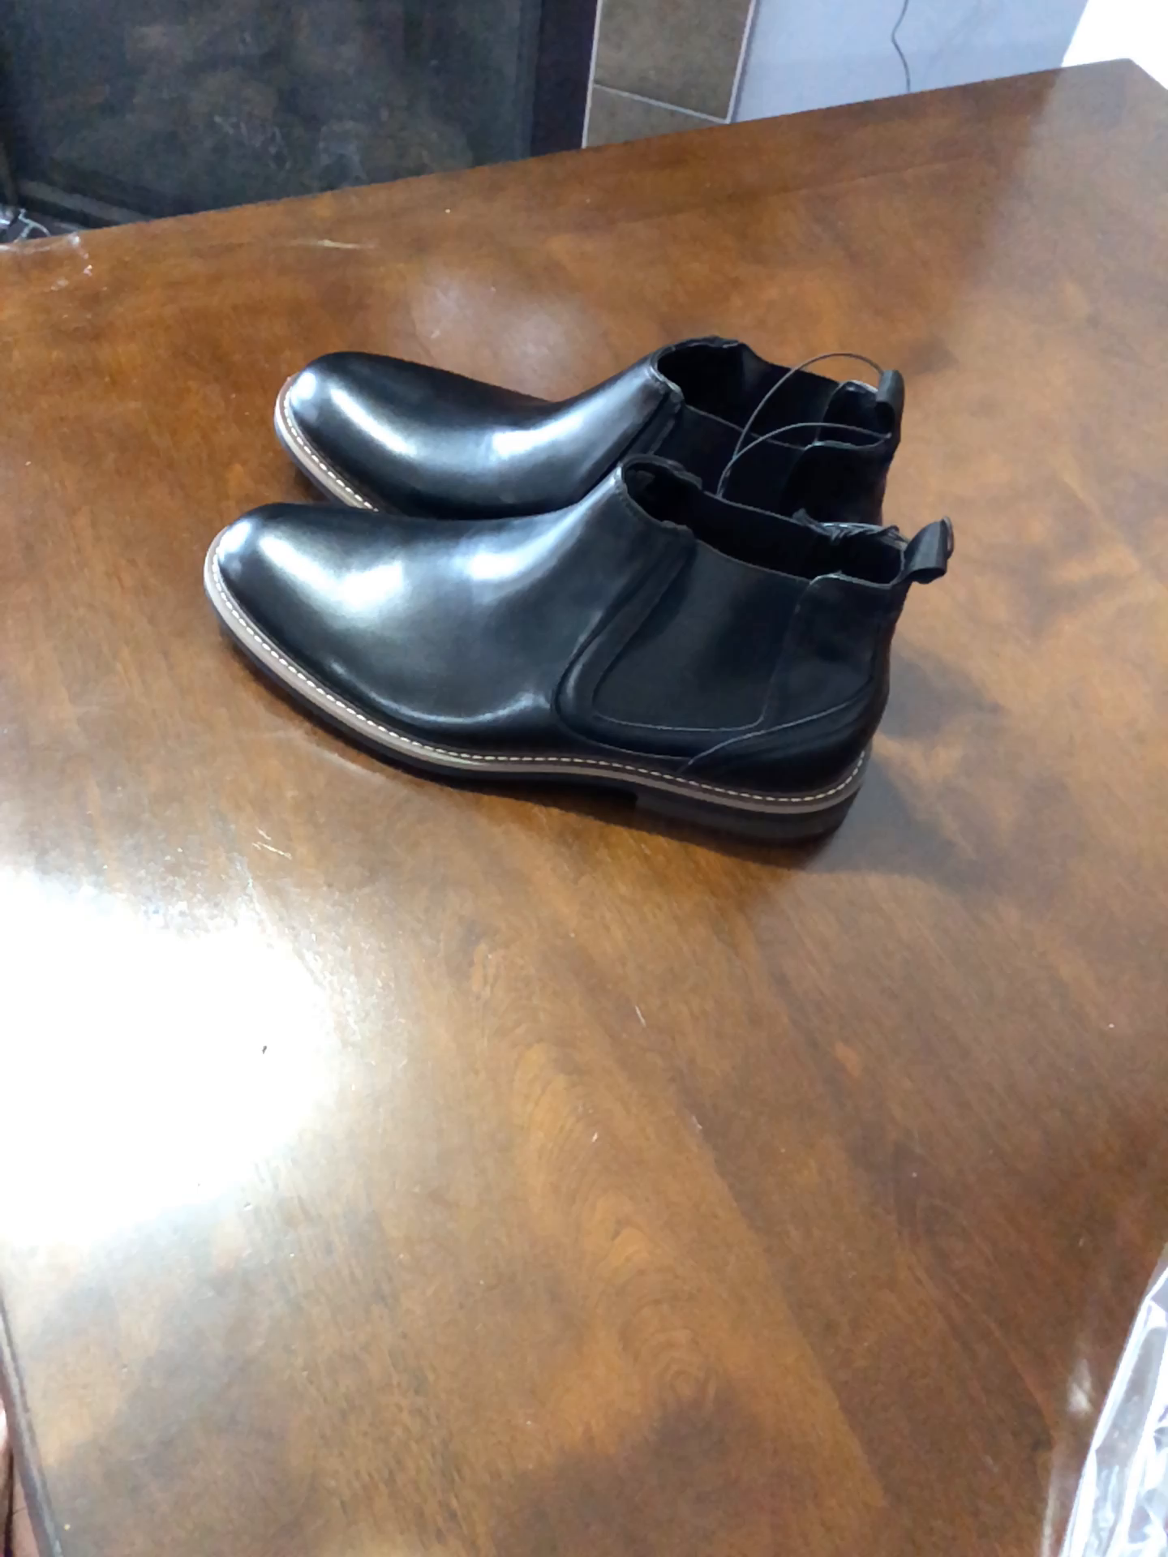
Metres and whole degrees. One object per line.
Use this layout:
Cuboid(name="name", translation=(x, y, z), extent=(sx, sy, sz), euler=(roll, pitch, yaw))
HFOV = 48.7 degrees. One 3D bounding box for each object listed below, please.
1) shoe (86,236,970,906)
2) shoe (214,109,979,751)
Cuboid(name="shoe", translation=(-0.021, -0.079, 0.538), extent=(0.300, 0.170, 0.120), euler=(16, 56, 3))
Cuboid(name="shoe", translation=(0.000, -0.160, 0.610), extent=(0.300, 0.170, 0.120), euler=(22, 56, 7))
